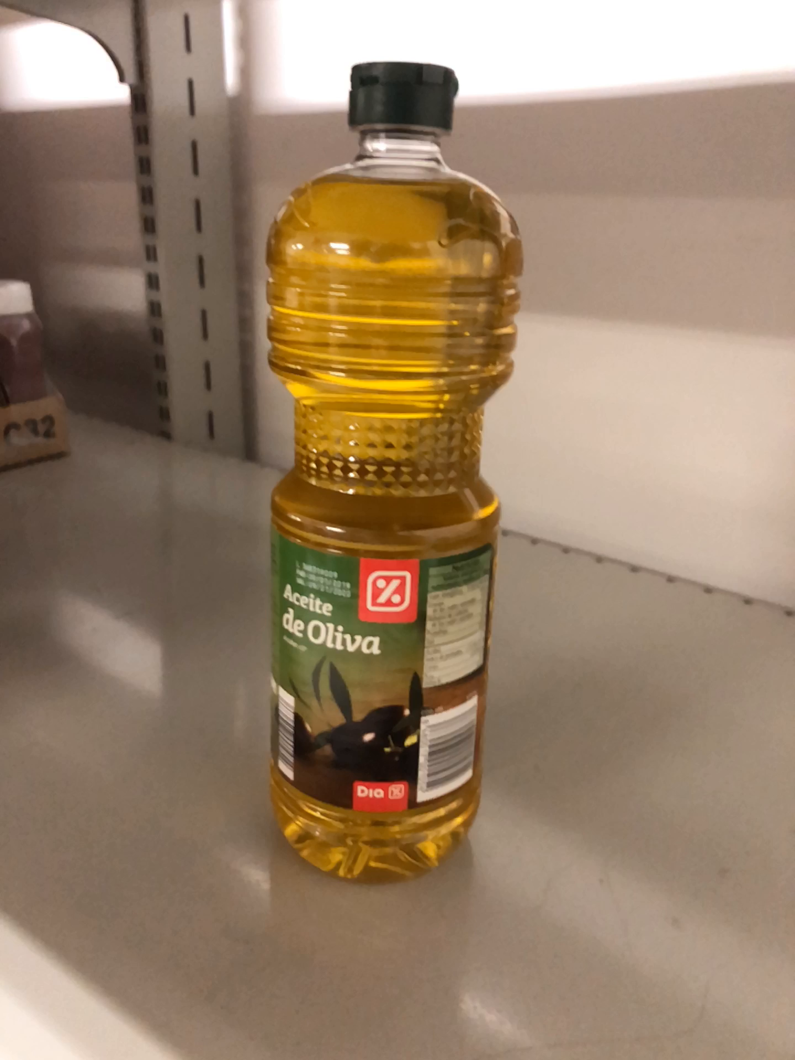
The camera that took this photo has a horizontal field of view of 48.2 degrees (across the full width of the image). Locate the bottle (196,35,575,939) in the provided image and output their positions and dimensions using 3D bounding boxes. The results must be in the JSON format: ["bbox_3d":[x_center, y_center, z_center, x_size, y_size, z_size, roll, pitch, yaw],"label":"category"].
[{"bbox_3d":[-0.004,-0.005,0.270,0.080,0.248,0.060,9,23,17],"label":"bottle"}]
